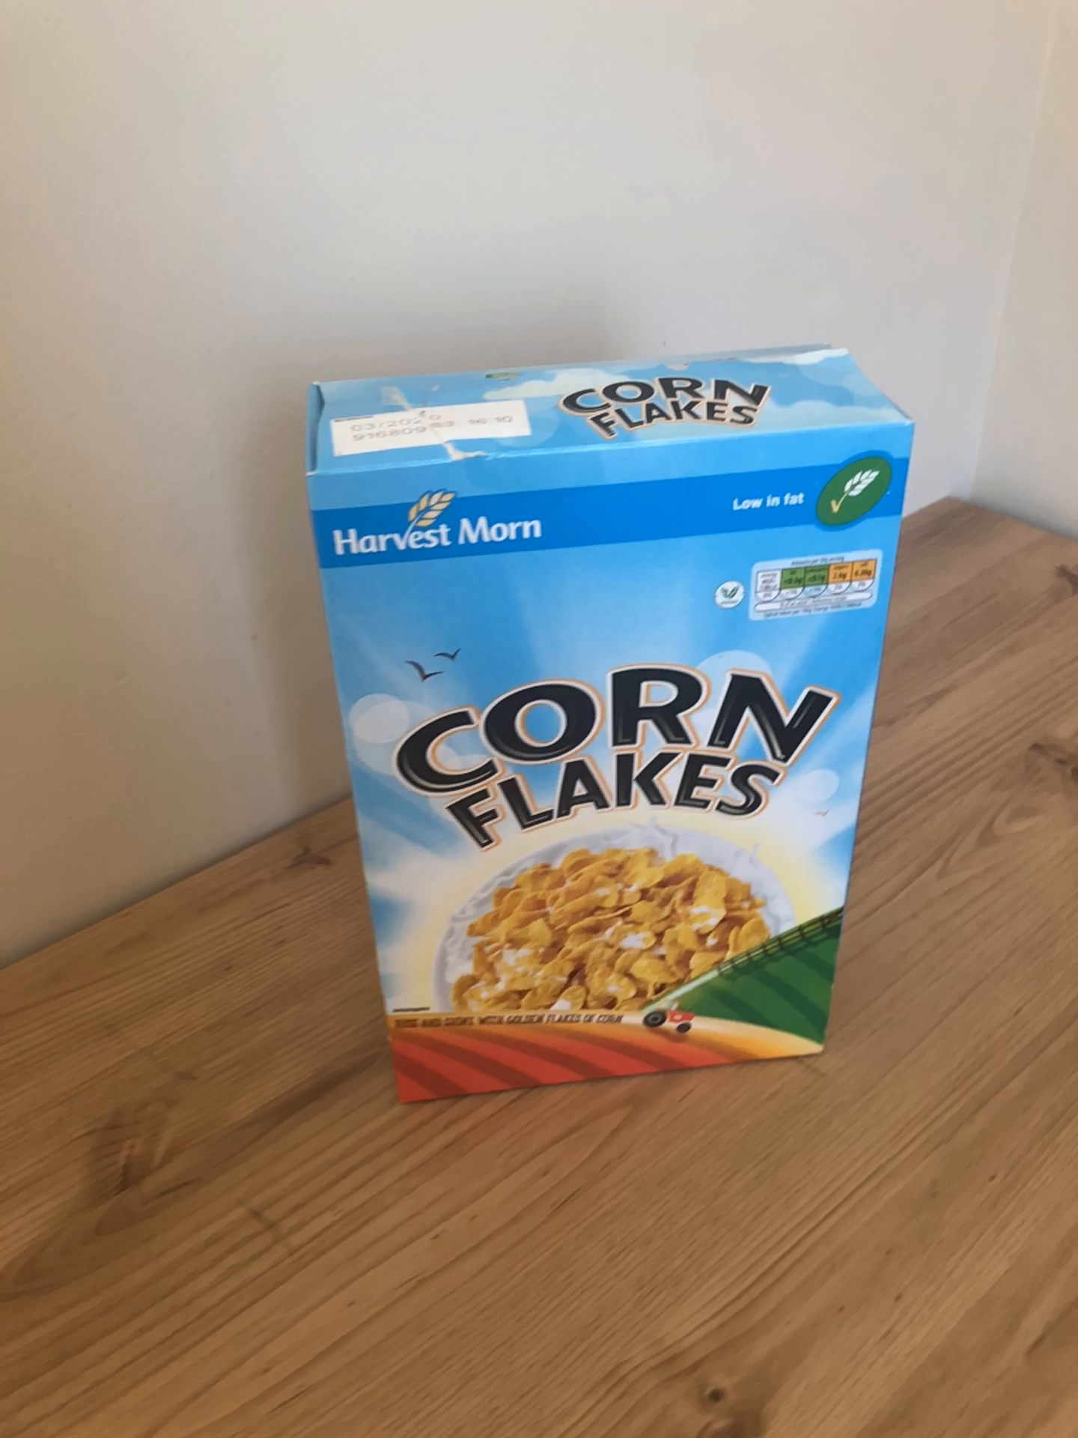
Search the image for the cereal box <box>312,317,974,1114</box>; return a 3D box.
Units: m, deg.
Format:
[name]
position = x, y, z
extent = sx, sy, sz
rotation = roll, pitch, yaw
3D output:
[cereal box]
position = 0.033, 0.014, 0.476
extent = 0.200, 0.308, 0.081
rotation = -5, 35, -5
